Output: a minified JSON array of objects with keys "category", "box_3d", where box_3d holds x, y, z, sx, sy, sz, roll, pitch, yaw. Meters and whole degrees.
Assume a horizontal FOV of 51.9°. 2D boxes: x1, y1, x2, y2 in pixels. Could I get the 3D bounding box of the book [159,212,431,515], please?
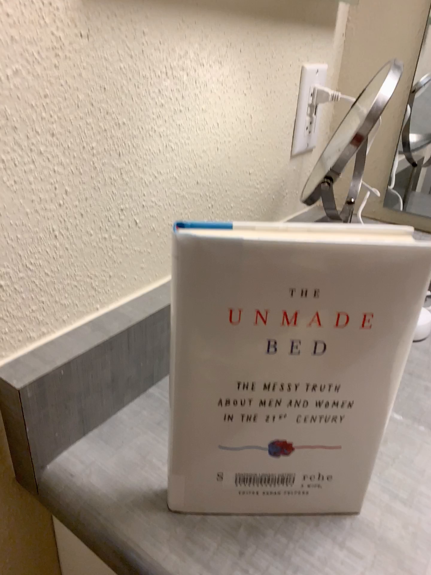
[{"category":"book","box_3d":[0.041,0.062,0.292,0.152,0.214,0.033,2,26,-3]}]
